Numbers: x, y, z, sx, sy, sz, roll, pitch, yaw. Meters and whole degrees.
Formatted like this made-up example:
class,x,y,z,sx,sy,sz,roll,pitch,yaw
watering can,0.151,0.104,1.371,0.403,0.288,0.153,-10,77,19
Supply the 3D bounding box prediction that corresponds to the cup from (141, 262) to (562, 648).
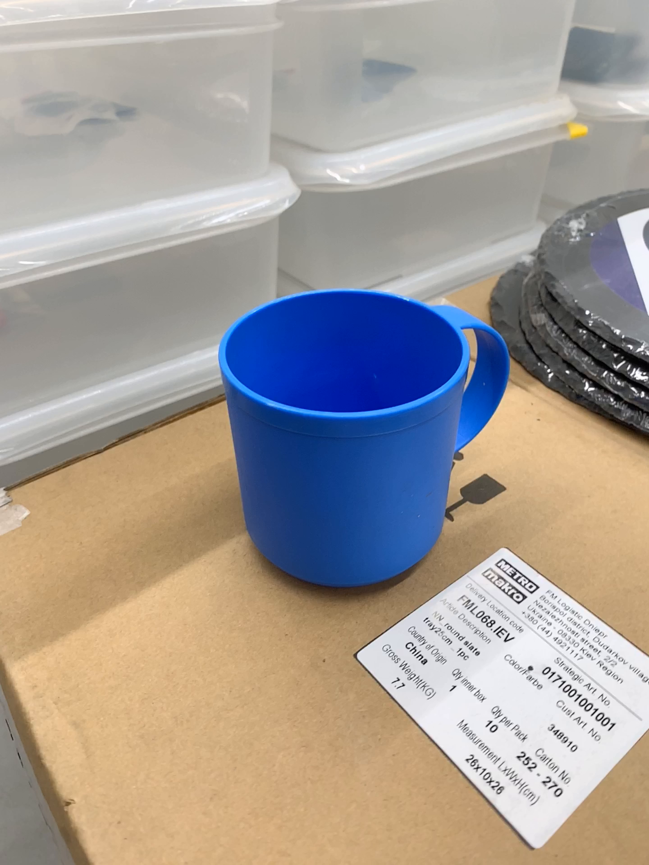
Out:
class,x,y,z,sx,sy,sz,roll,pitch,yaw
cup,0.008,-0.001,0.247,0.110,0.071,0.089,-23,42,-25
